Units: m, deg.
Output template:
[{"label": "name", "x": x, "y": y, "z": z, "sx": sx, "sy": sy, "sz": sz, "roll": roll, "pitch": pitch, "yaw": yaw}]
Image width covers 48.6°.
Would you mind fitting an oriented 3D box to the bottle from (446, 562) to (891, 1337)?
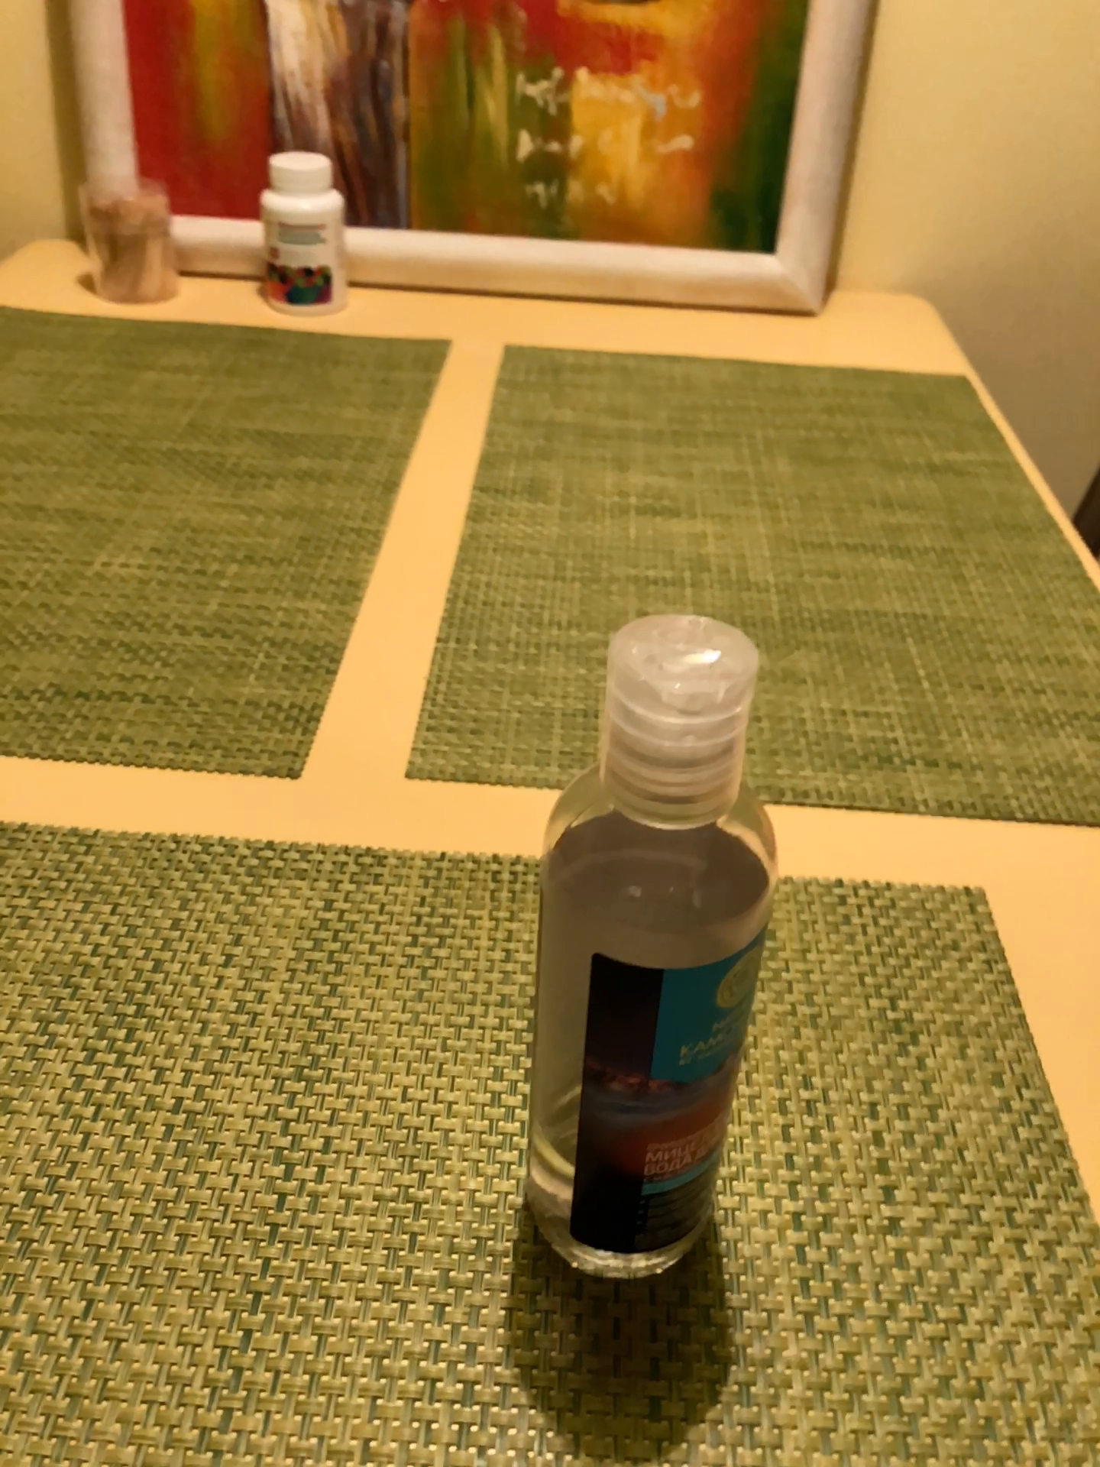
[{"label": "bottle", "x": 0.016, "y": 0.049, "z": 0.250, "sx": 0.051, "sy": 0.149, "sz": 0.054, "roll": 3, "pitch": 36, "yaw": -2}]
